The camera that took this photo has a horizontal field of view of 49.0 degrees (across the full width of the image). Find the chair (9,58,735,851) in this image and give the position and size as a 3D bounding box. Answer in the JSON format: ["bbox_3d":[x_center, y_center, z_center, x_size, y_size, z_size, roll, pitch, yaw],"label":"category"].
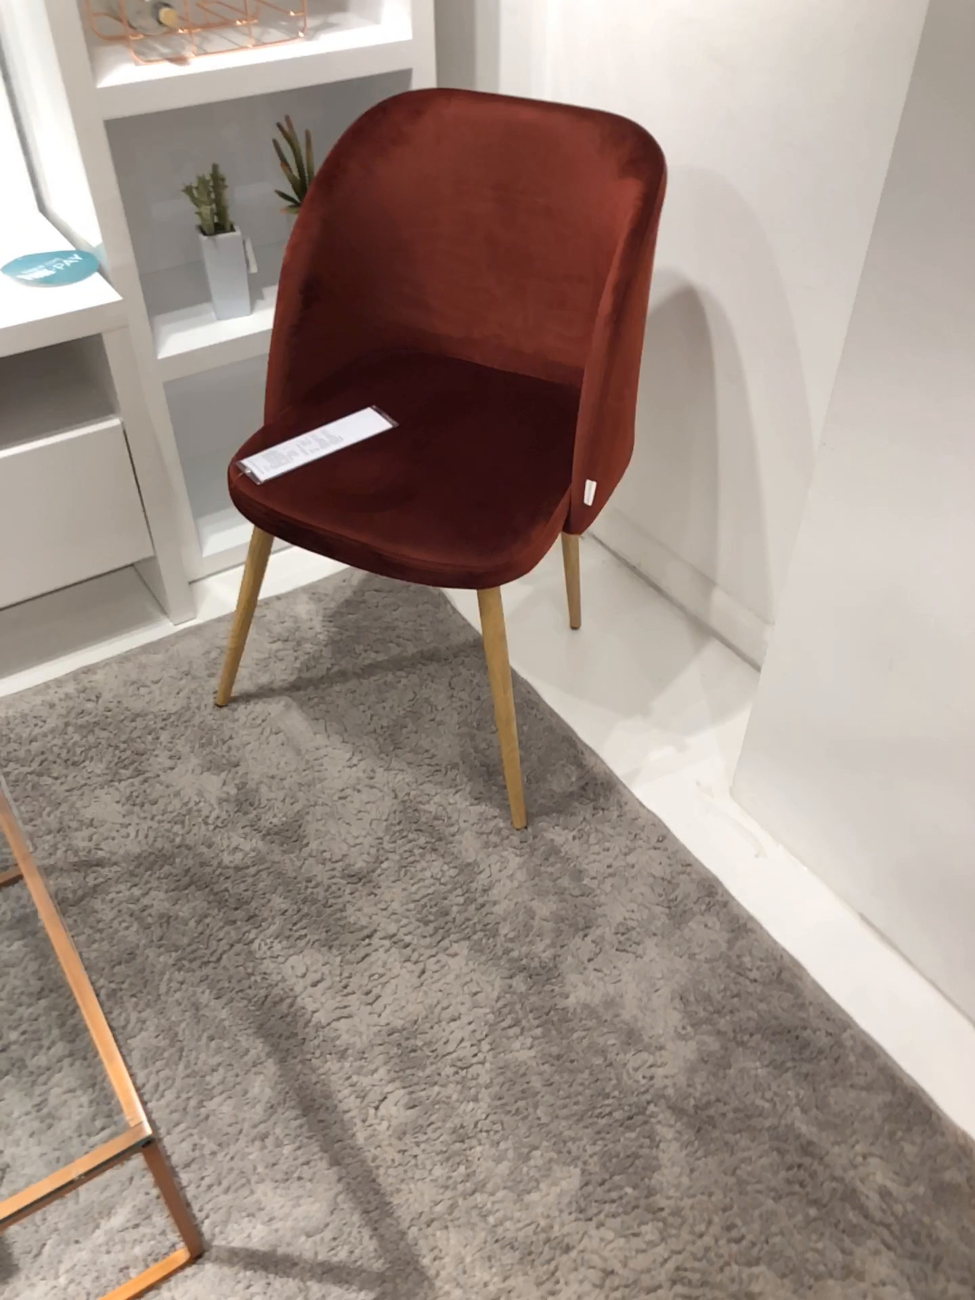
[{"bbox_3d":[-0.086,-0.290,1.463,0.591,0.734,0.655,16,44,16],"label":"chair"}]
